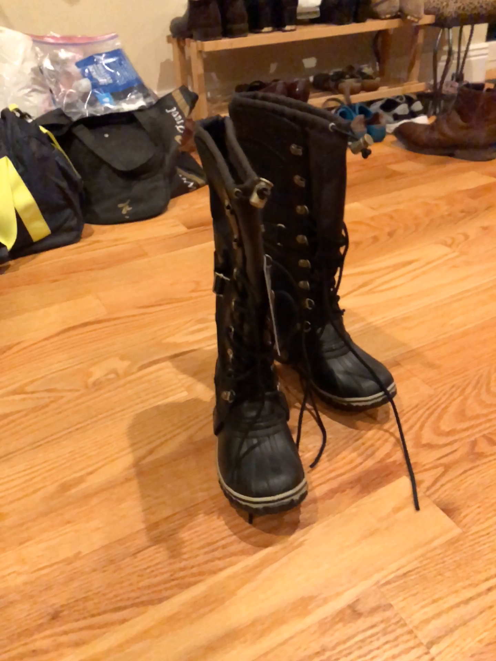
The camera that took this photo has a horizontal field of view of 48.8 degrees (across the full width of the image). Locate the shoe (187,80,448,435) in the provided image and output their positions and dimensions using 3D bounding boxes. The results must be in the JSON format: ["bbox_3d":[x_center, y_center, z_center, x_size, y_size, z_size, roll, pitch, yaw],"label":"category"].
[{"bbox_3d":[0.063,-0.091,0.632,0.100,0.328,0.261,-27,40,-31],"label":"shoe"}]

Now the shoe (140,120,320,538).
[{"bbox_3d":[-0.023,-0.013,0.539,0.100,0.308,0.261,-10,34,-9],"label":"shoe"}]
